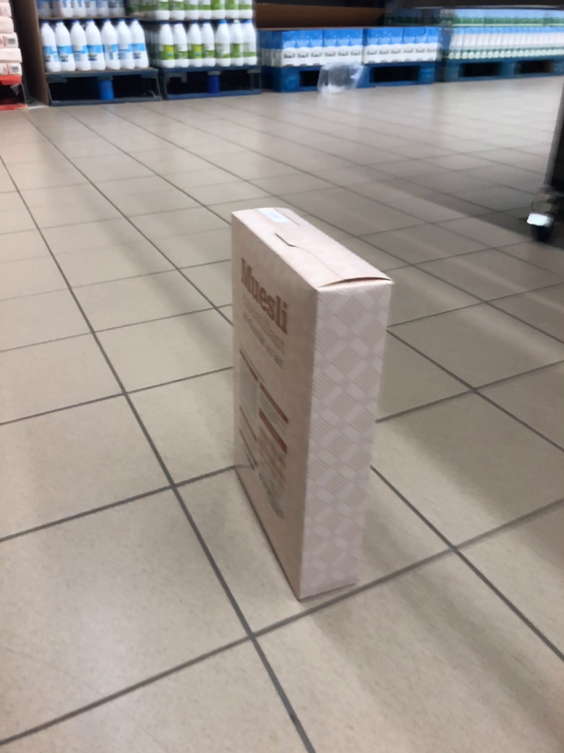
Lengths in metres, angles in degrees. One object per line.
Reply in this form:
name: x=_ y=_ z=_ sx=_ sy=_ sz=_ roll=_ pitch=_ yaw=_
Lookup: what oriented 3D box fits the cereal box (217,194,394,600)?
cereal box: x=0.002 y=0.007 z=0.517 sx=0.060 sy=0.268 sz=0.201 roll=-8 pitch=30 yaw=-18
